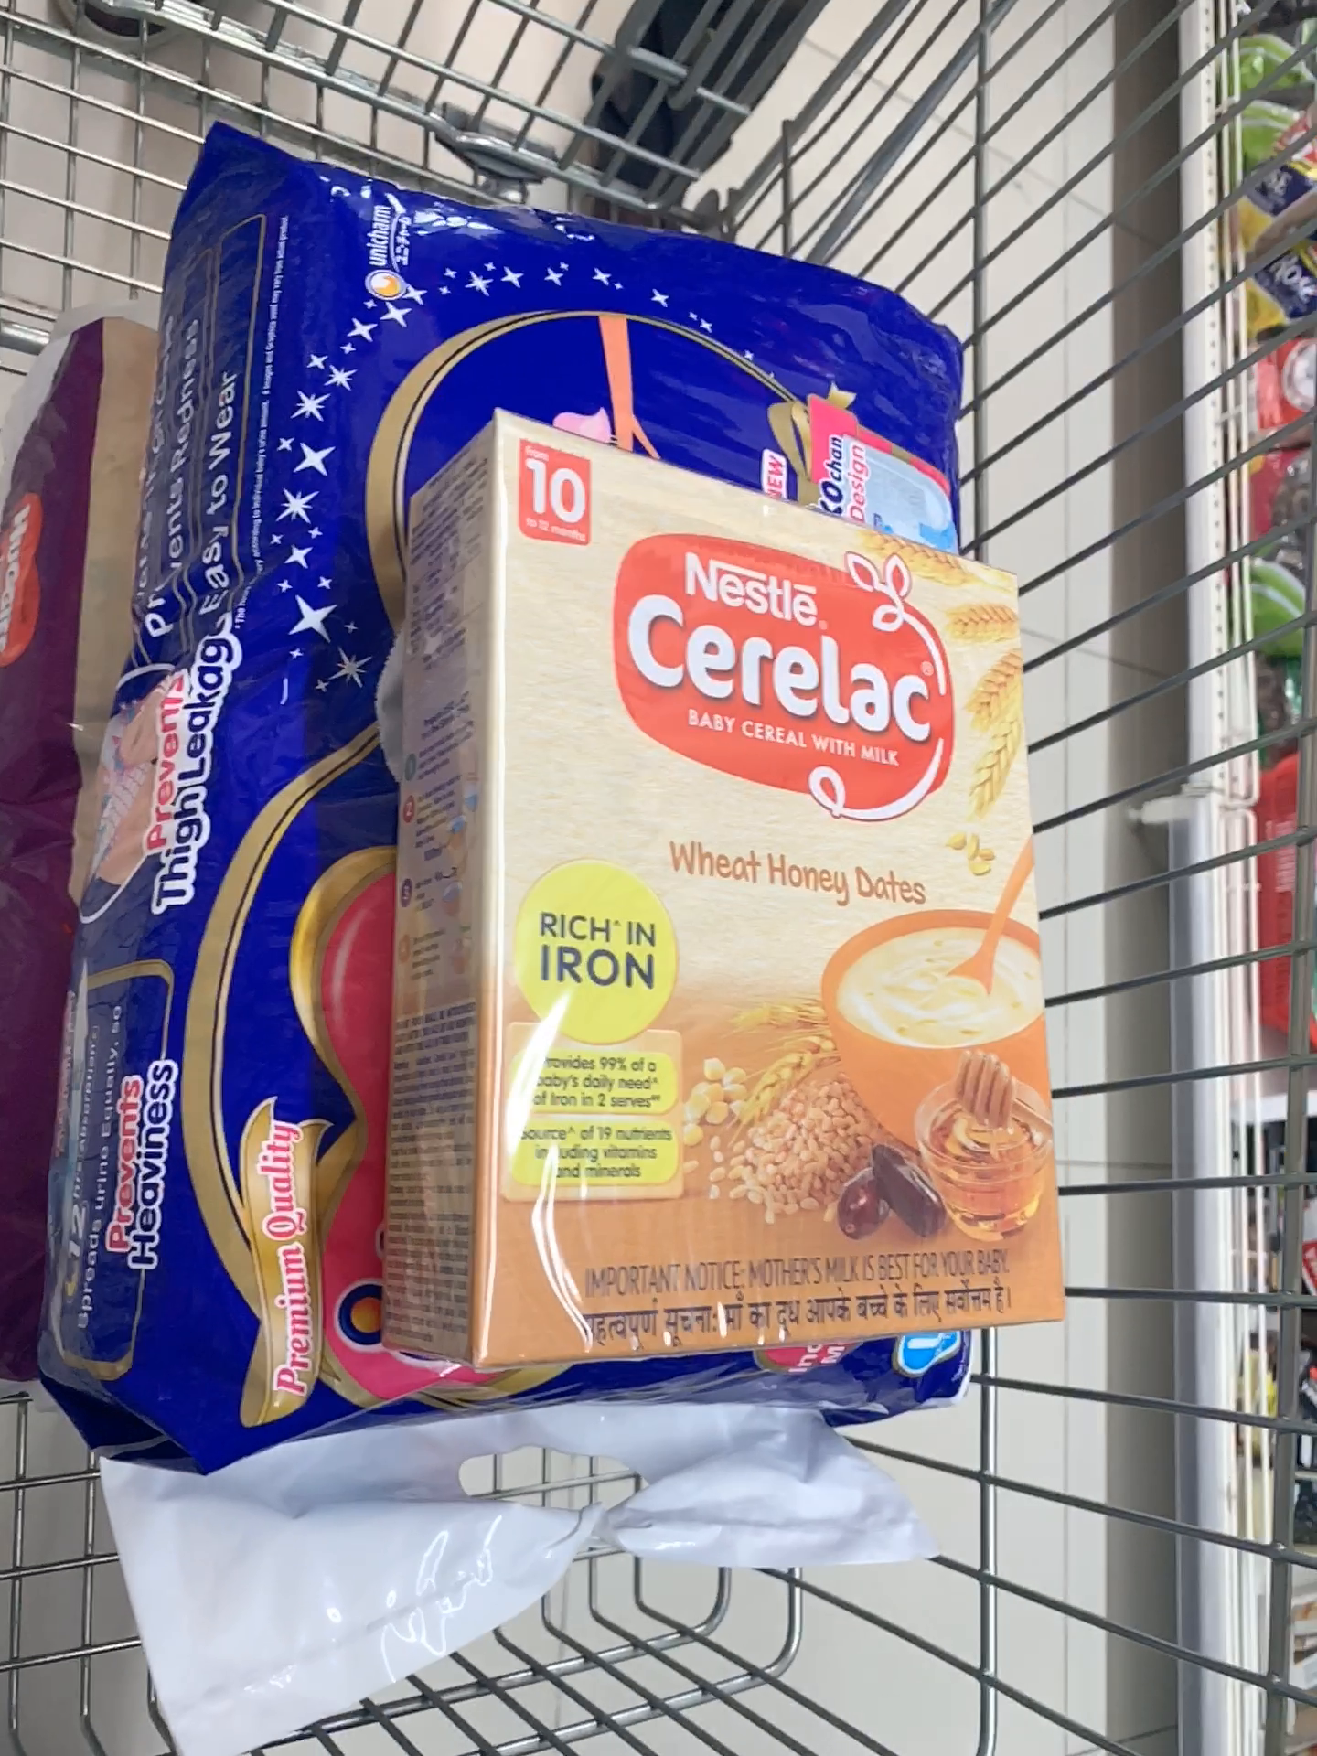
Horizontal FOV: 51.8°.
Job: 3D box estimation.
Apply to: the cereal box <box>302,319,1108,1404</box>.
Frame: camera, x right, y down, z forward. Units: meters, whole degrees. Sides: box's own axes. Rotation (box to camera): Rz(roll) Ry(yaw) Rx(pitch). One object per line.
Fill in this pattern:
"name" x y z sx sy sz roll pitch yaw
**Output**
"cereal box" 0.014 0.003 0.299 0.161 0.060 0.190 7 76 -32
